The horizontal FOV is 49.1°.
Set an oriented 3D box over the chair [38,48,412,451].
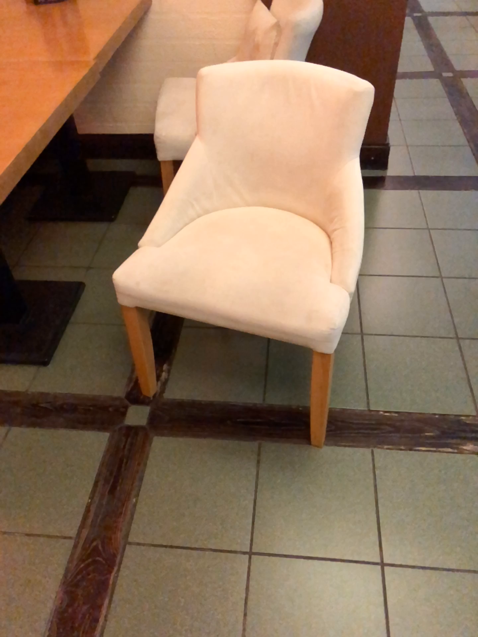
[{"bbox_3d":[0.036,-0.206,1.399,0.631,0.736,0.663,12,46,16],"label":"chair"}]
